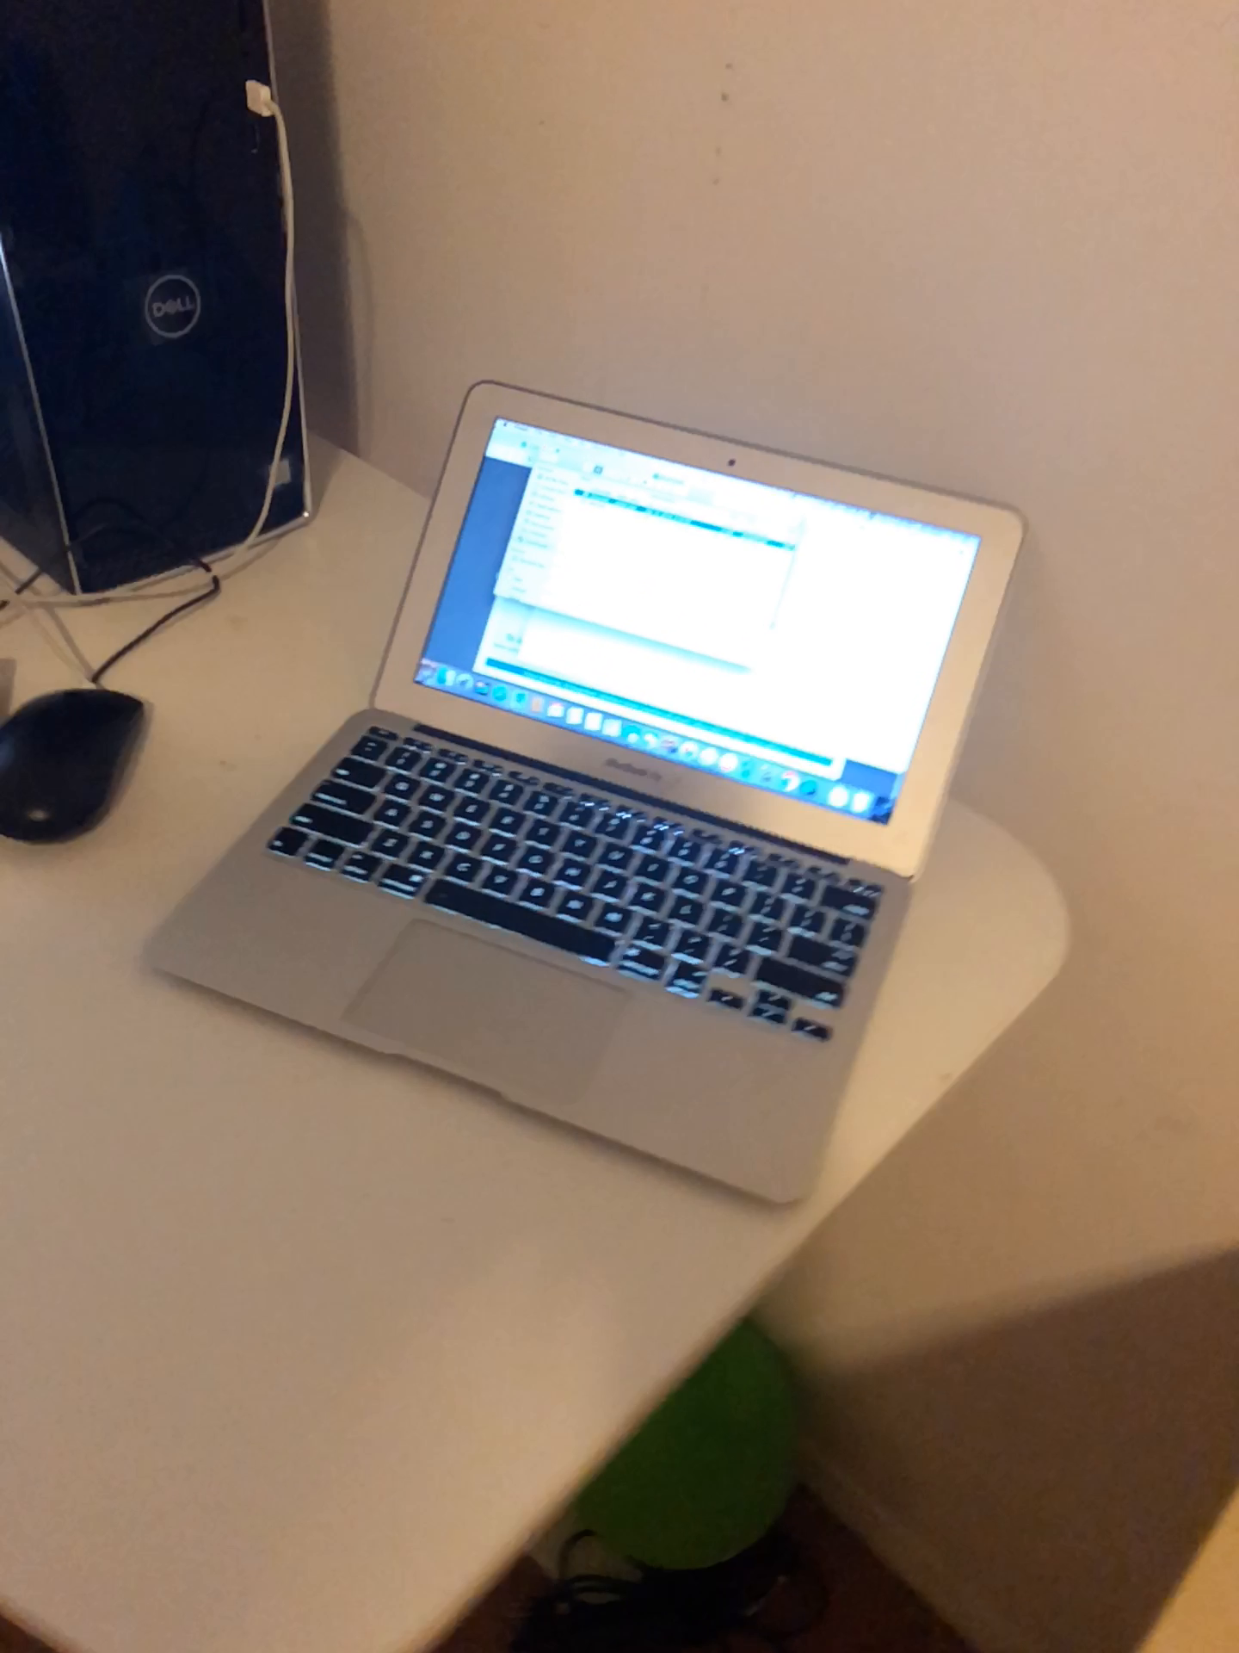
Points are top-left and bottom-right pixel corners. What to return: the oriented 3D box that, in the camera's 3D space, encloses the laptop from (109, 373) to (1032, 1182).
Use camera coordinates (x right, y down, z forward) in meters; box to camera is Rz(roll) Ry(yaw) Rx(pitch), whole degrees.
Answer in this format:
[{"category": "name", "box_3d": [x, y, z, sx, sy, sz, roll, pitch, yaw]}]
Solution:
[{"category": "laptop", "box_3d": [-0.002, -0.052, 0.602, 0.280, 0.126, 0.306, 17, 45, 16]}]
